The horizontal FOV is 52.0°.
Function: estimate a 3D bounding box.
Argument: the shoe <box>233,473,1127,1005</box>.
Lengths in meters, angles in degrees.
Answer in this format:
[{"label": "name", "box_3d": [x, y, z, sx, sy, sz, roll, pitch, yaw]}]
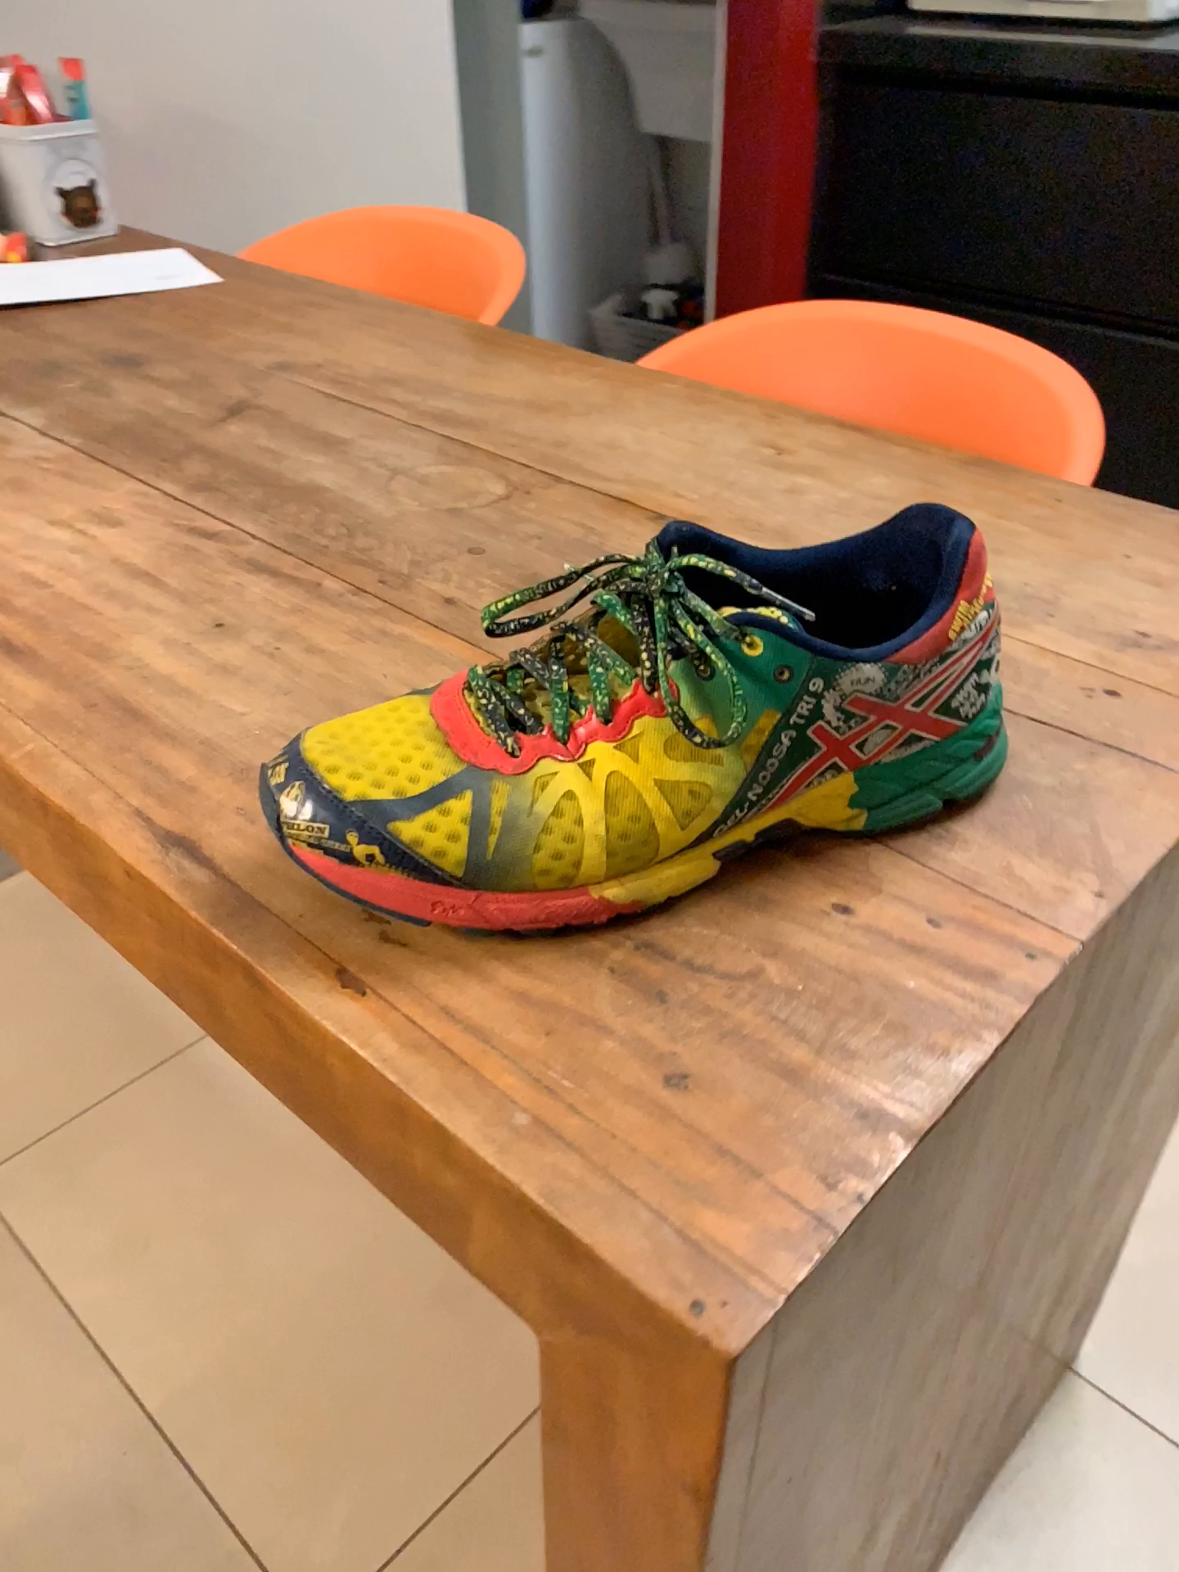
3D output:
[{"label": "shoe", "box_3d": [0.030, -0.029, 0.458, 0.295, 0.102, 0.114, -12, 38, -14]}]
